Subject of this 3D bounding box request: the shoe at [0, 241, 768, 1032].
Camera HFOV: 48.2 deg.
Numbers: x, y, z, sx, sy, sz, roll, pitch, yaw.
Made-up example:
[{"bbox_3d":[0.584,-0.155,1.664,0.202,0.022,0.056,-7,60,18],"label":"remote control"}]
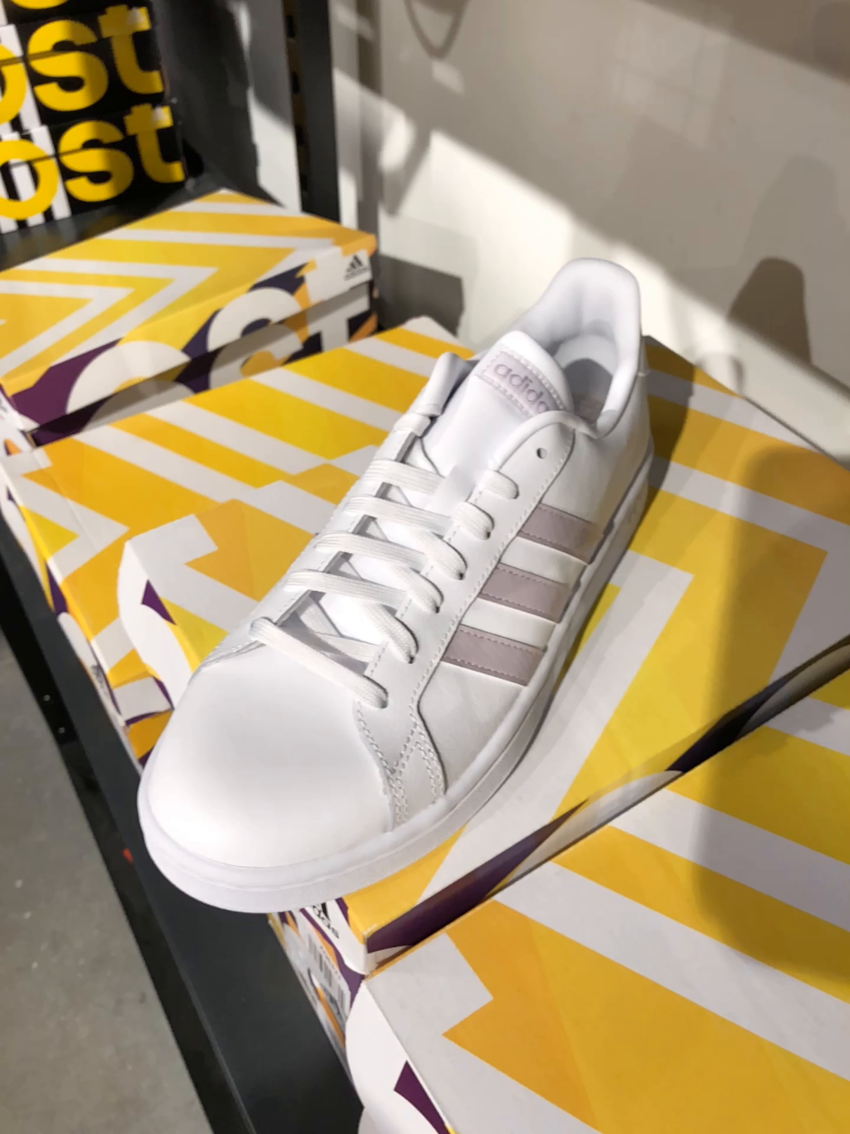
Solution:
[{"bbox_3d":[0.008,-0.005,0.347,0.110,0.090,0.291,27,51,23],"label":"shoe"}]
